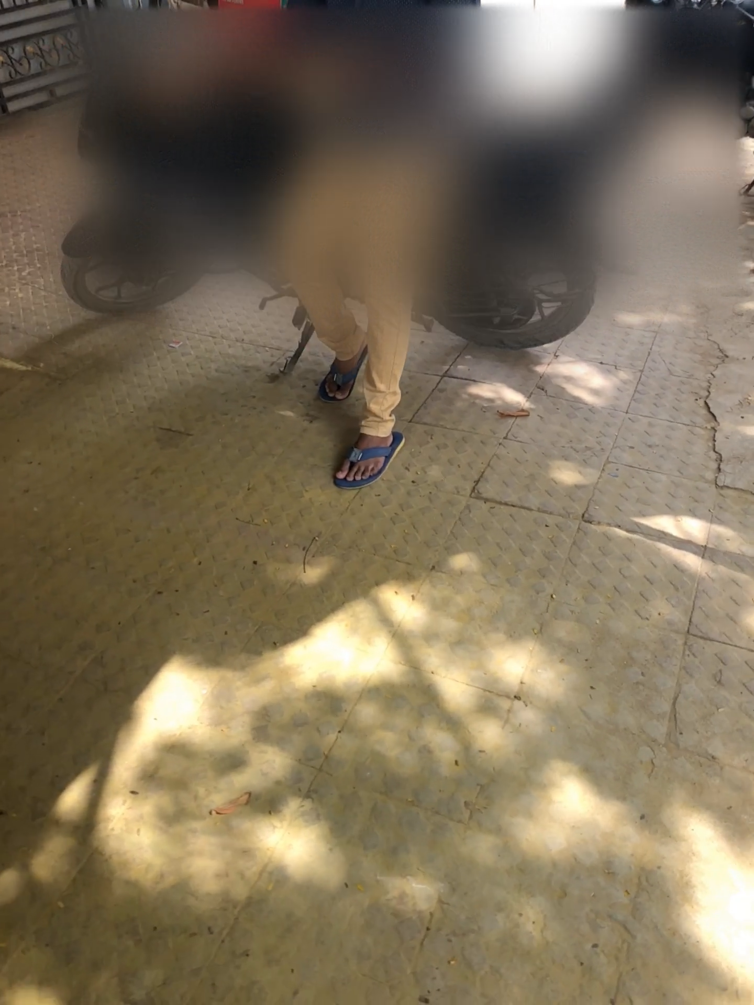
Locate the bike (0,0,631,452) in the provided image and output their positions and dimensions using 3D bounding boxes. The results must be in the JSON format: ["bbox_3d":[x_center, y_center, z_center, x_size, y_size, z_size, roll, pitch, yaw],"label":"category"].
[{"bbox_3d":[-0.242,-0.899,2.429,1.742,1.175,0.789,3,38,11],"label":"bike"}]
